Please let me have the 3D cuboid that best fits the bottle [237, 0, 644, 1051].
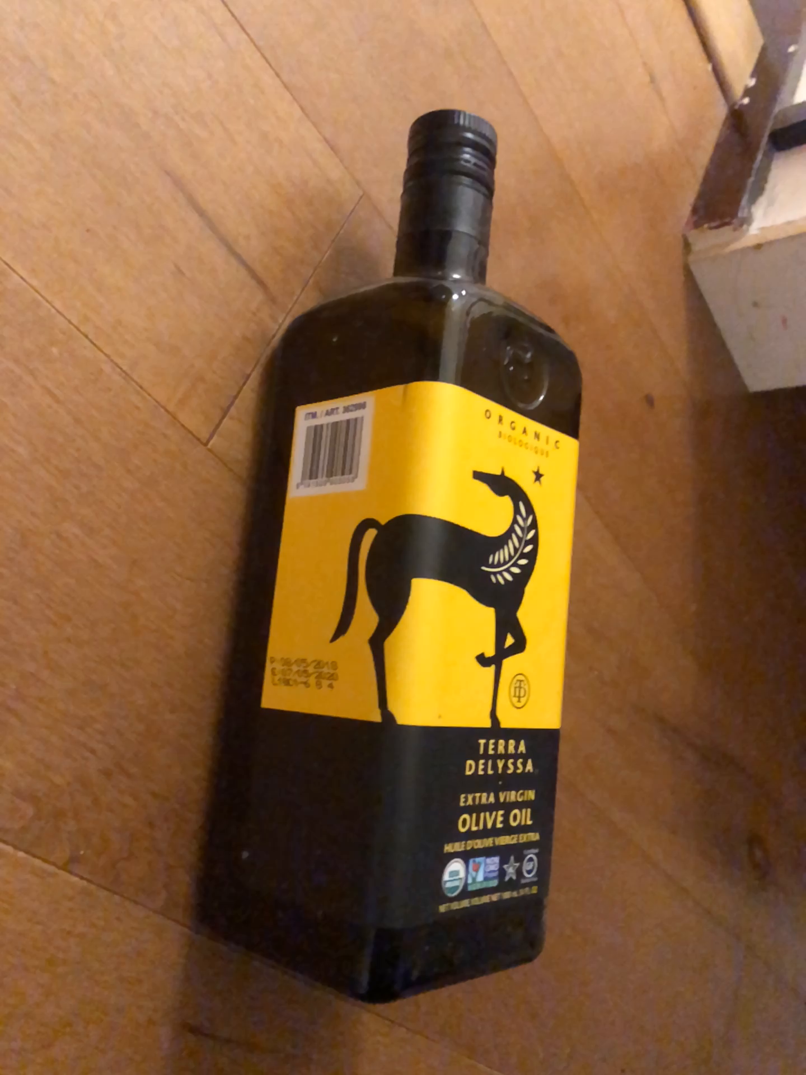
[{"bbox_3d":[0.019,-0.008,0.276,0.090,0.060,0.270,14,78,-46],"label":"bottle"}]
